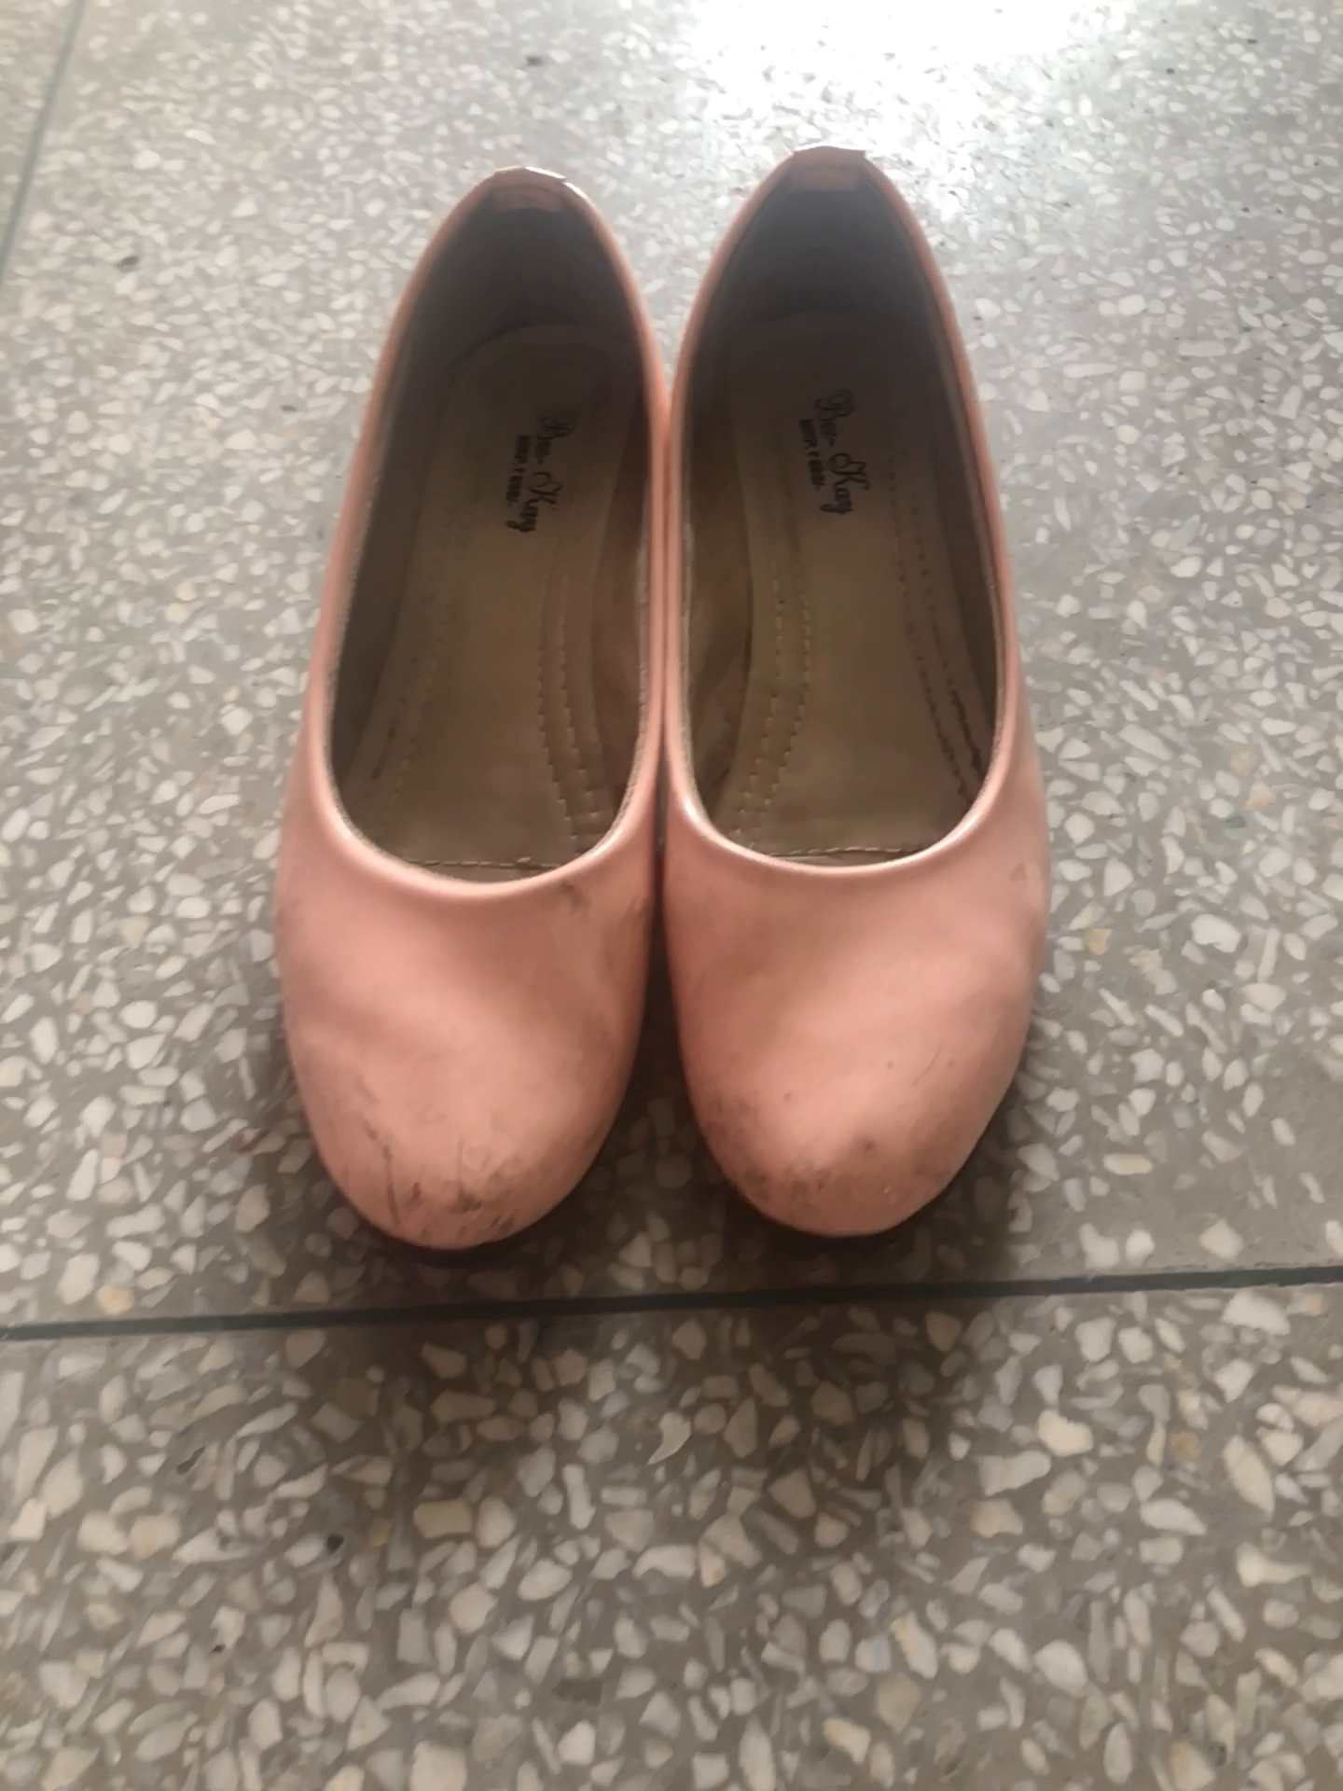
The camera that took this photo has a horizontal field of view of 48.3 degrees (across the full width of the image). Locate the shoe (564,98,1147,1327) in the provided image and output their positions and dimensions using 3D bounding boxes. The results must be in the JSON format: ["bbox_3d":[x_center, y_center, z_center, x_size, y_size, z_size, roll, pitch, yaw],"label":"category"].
[{"bbox_3d":[0.032,-0.048,0.319,0.090,0.070,0.260,0,65,3],"label":"shoe"}]

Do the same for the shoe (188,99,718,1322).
[{"bbox_3d":[-0.036,-0.043,0.330,0.090,0.070,0.260,0,72,3],"label":"shoe"}]
